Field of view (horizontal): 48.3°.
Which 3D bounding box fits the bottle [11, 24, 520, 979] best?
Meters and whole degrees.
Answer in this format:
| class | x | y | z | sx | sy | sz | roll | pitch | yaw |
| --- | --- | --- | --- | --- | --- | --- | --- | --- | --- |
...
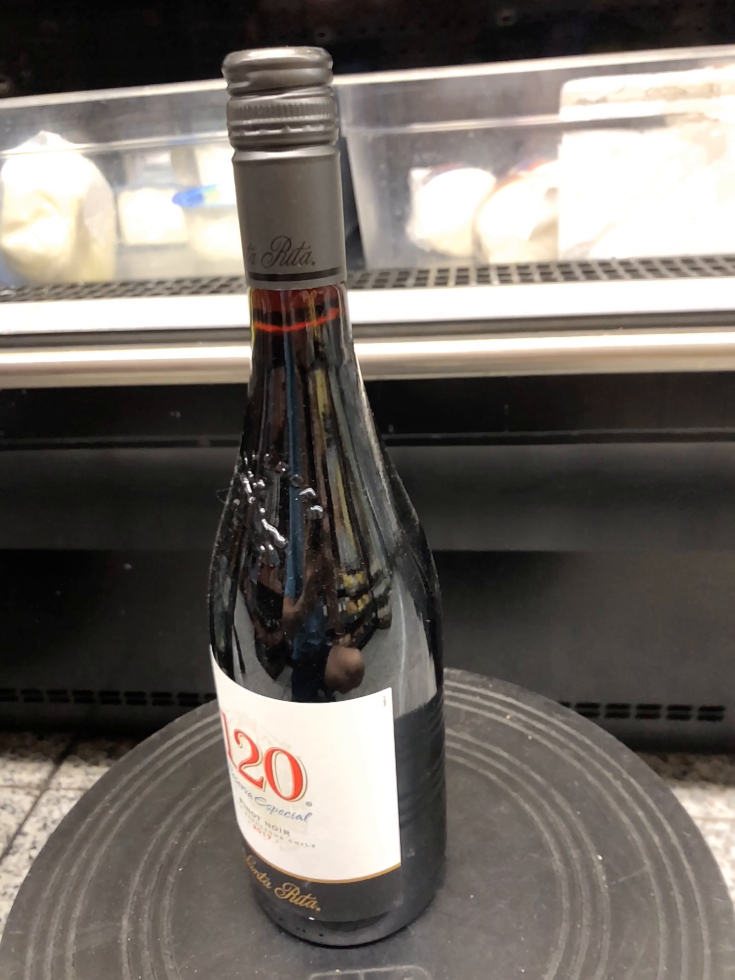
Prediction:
| class | x | y | z | sx | sy | sz | roll | pitch | yaw |
| --- | --- | --- | --- | --- | --- | --- | --- | --- | --- |
| bottle | -0.016 | 0.020 | 0.265 | 0.090 | 0.288 | 0.090 | -3 | 25 | 1 |
